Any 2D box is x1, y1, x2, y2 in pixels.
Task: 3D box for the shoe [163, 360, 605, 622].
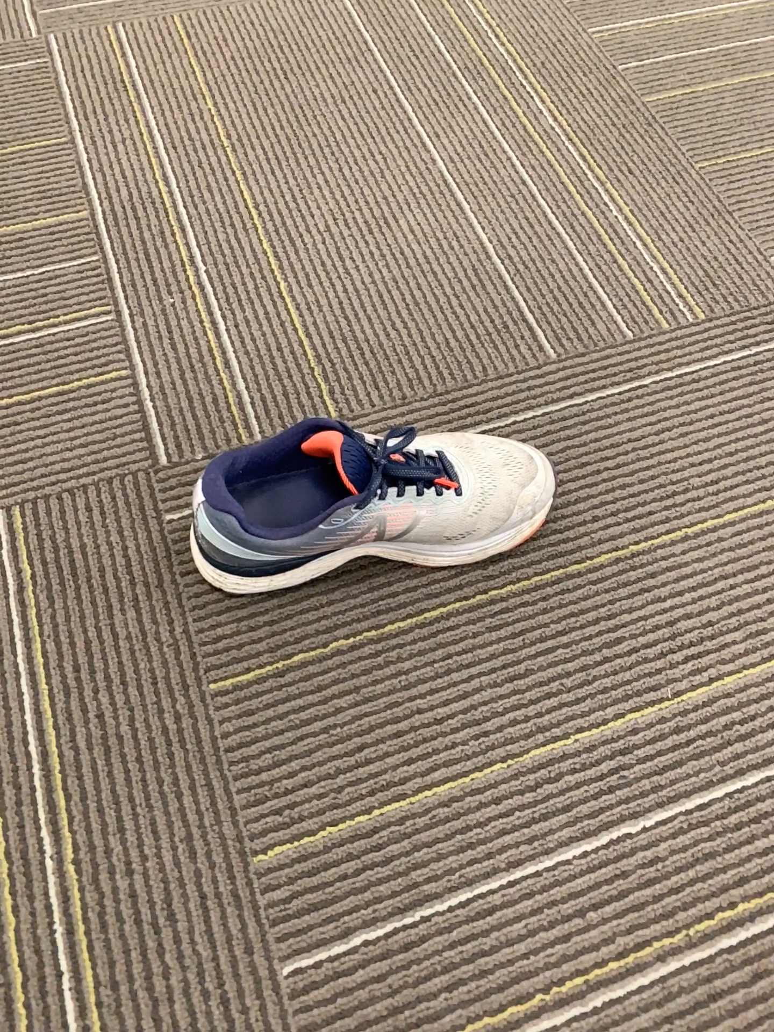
[{"bbox_3d":[-0.007,-0.021,0.591,0.290,0.080,0.130,-9,61,-8],"label":"shoe"}]
